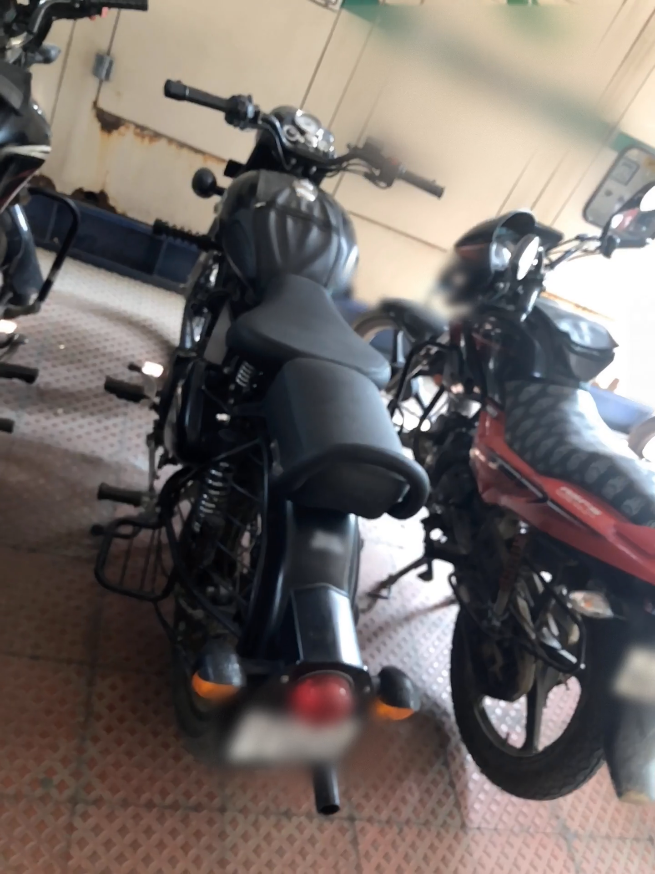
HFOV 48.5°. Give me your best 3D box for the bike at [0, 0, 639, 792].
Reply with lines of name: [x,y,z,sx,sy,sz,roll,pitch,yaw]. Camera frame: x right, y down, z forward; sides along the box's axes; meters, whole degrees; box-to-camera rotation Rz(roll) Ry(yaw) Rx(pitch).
bike: [-0.229,-0.234,1.767,0.709,0.919,1.694,14,36,-24]
